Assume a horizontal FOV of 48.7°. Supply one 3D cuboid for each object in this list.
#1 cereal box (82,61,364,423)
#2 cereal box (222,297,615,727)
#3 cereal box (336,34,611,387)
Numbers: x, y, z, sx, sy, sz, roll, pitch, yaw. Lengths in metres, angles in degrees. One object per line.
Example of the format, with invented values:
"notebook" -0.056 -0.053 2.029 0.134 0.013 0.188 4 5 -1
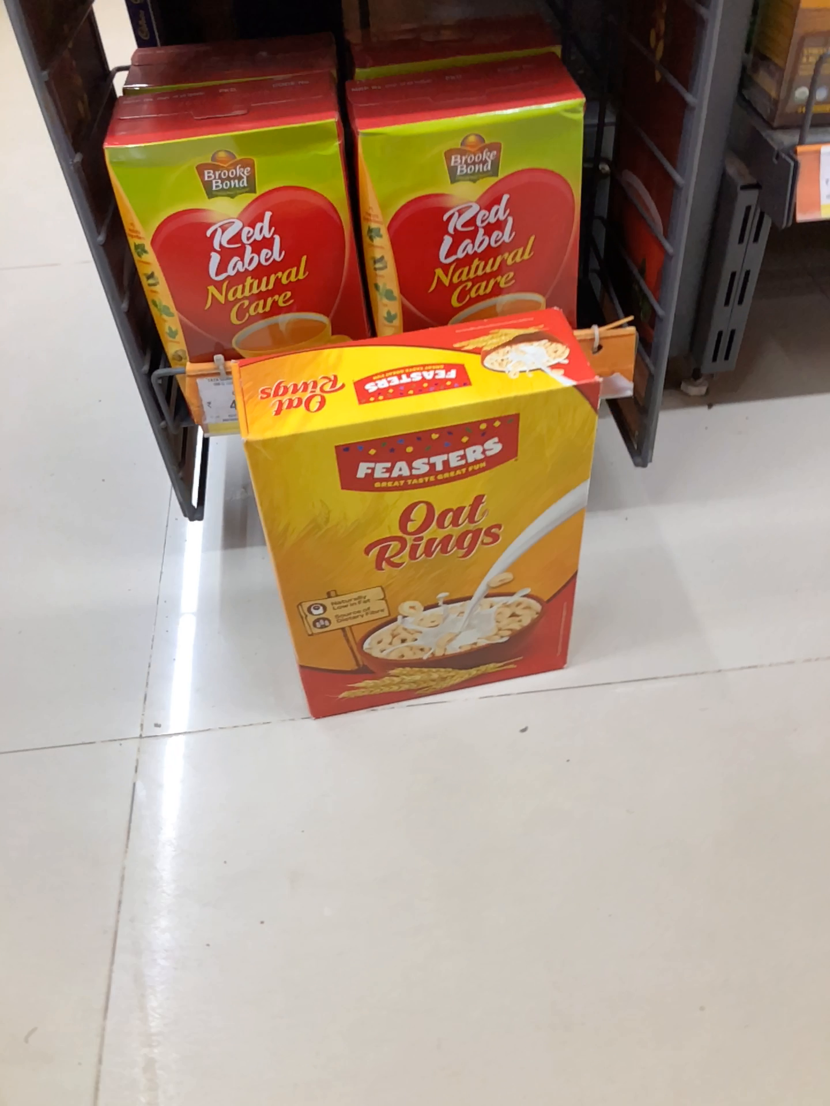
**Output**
"cereal box" -0.101 -0.174 0.530 0.120 0.169 0.080 -8 47 -3
"cereal box" 0.004 -0.012 0.500 0.170 0.219 0.070 -11 47 -6
"cereal box" 0.030 -0.187 0.510 0.120 0.149 0.080 -11 47 -6
